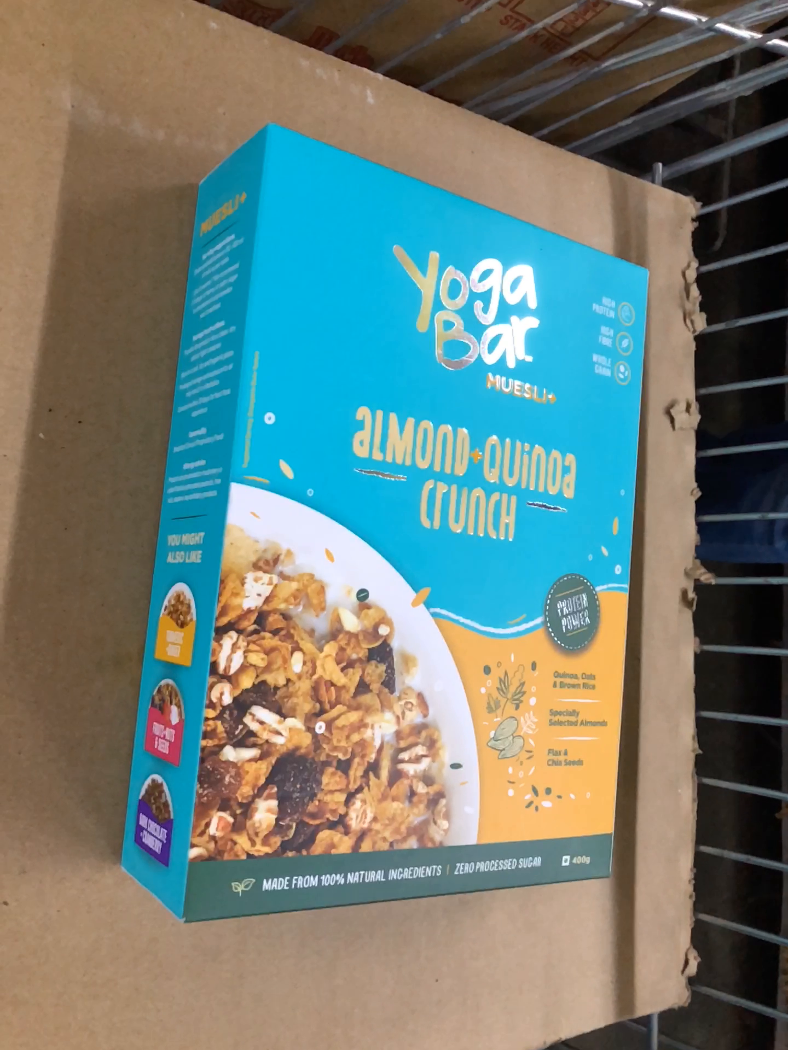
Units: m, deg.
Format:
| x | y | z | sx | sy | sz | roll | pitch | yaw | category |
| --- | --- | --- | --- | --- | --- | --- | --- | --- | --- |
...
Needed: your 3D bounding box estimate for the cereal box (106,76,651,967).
| x | y | z | sx | sy | sz | roll | pitch | yaw | category |
| --- | --- | --- | --- | --- | --- | --- | --- | --- | --- |
| 0.002 | 0.004 | 0.307 | 0.160 | 0.070 | 0.240 | 8 | 85 | -34 | cereal box |
